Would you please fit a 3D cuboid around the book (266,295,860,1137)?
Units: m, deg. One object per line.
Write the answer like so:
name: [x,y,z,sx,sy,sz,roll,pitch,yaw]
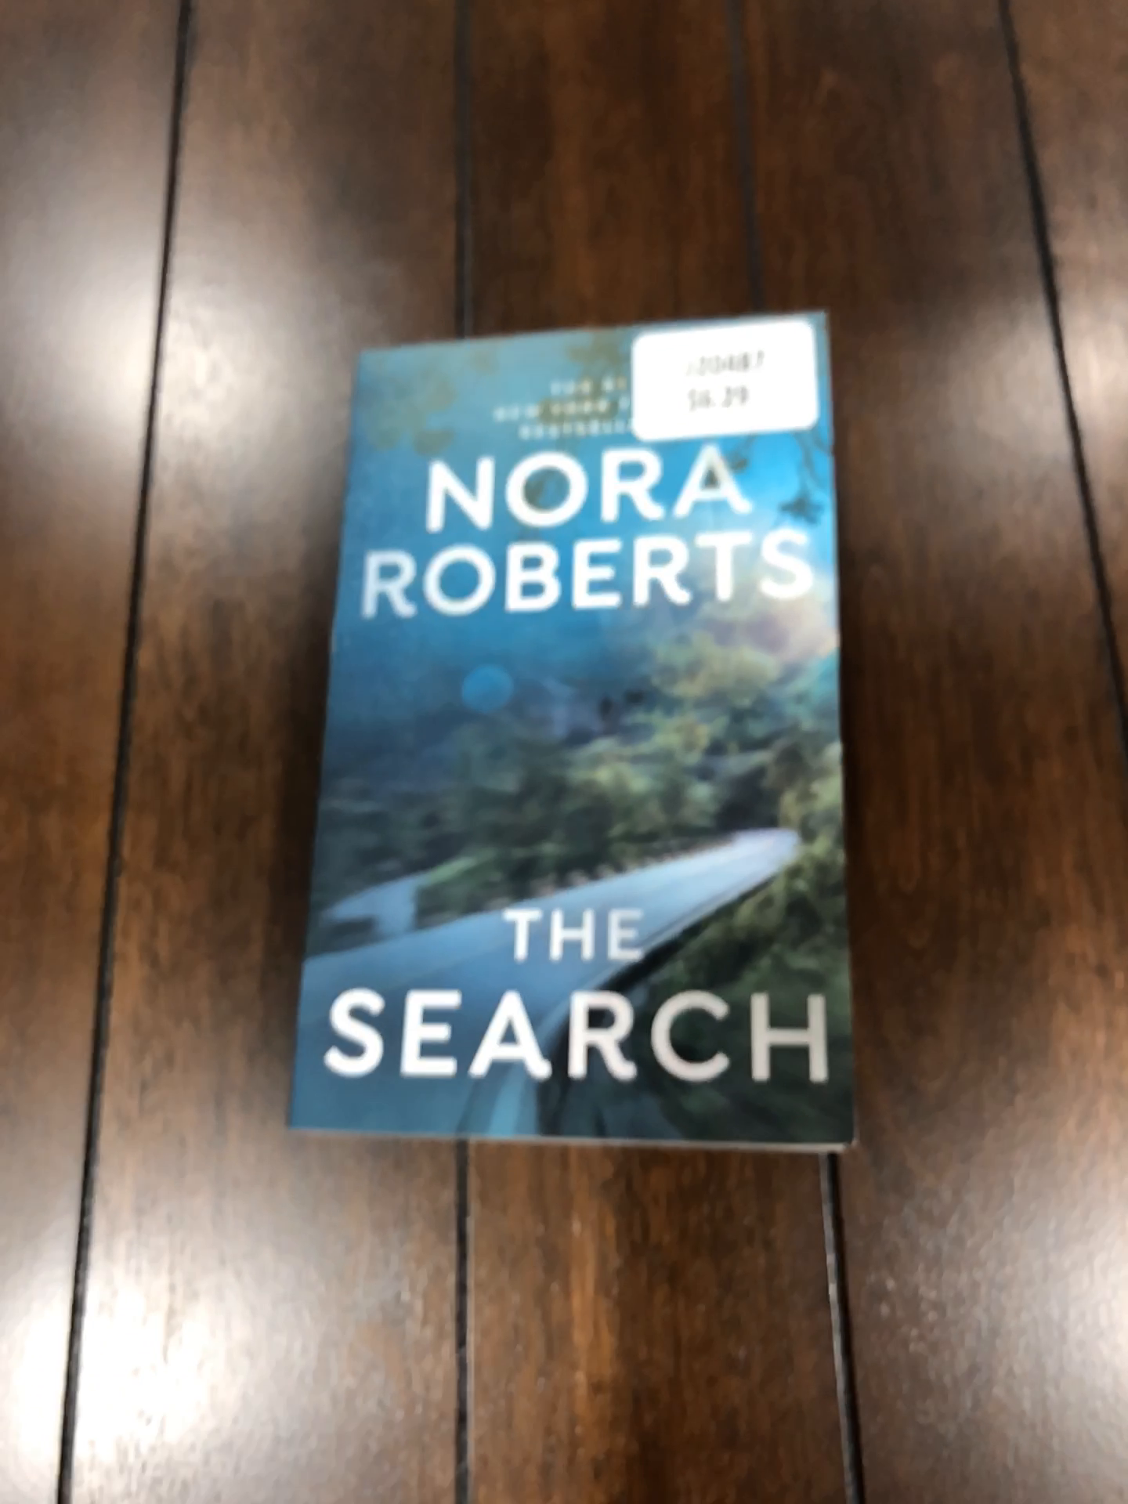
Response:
book: [0.005,-0.008,0.279,0.108,0.050,0.170,-1,72,10]
